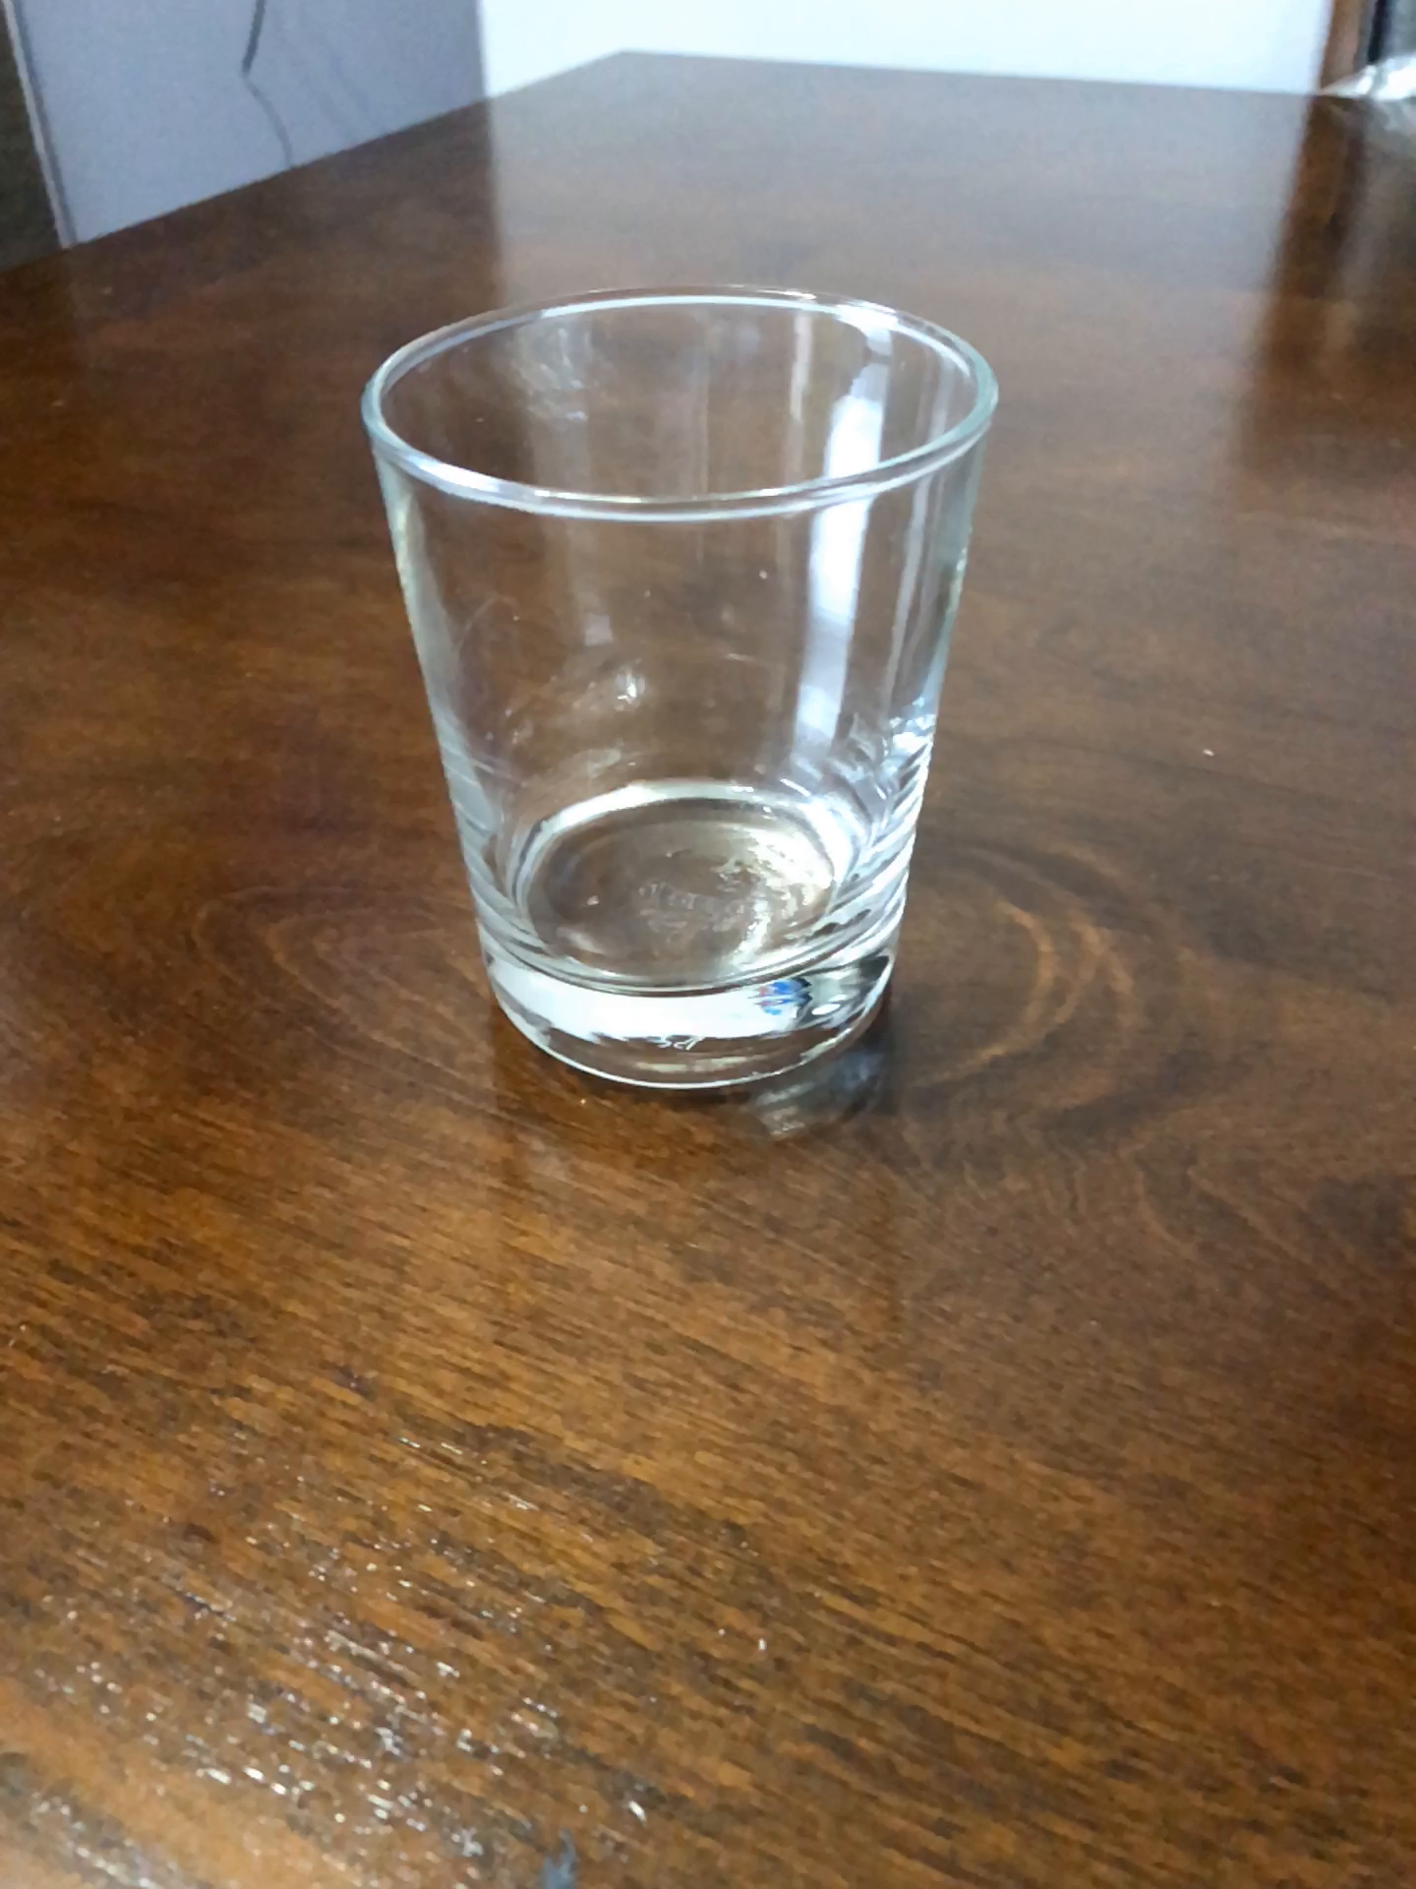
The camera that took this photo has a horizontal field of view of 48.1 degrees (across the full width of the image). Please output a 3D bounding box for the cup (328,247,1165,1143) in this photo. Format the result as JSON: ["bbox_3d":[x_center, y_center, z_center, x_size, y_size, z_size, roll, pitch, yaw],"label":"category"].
[{"bbox_3d":[-0.002,-0.042,0.236,0.090,0.090,0.090,0,37,0],"label":"cup"}]
